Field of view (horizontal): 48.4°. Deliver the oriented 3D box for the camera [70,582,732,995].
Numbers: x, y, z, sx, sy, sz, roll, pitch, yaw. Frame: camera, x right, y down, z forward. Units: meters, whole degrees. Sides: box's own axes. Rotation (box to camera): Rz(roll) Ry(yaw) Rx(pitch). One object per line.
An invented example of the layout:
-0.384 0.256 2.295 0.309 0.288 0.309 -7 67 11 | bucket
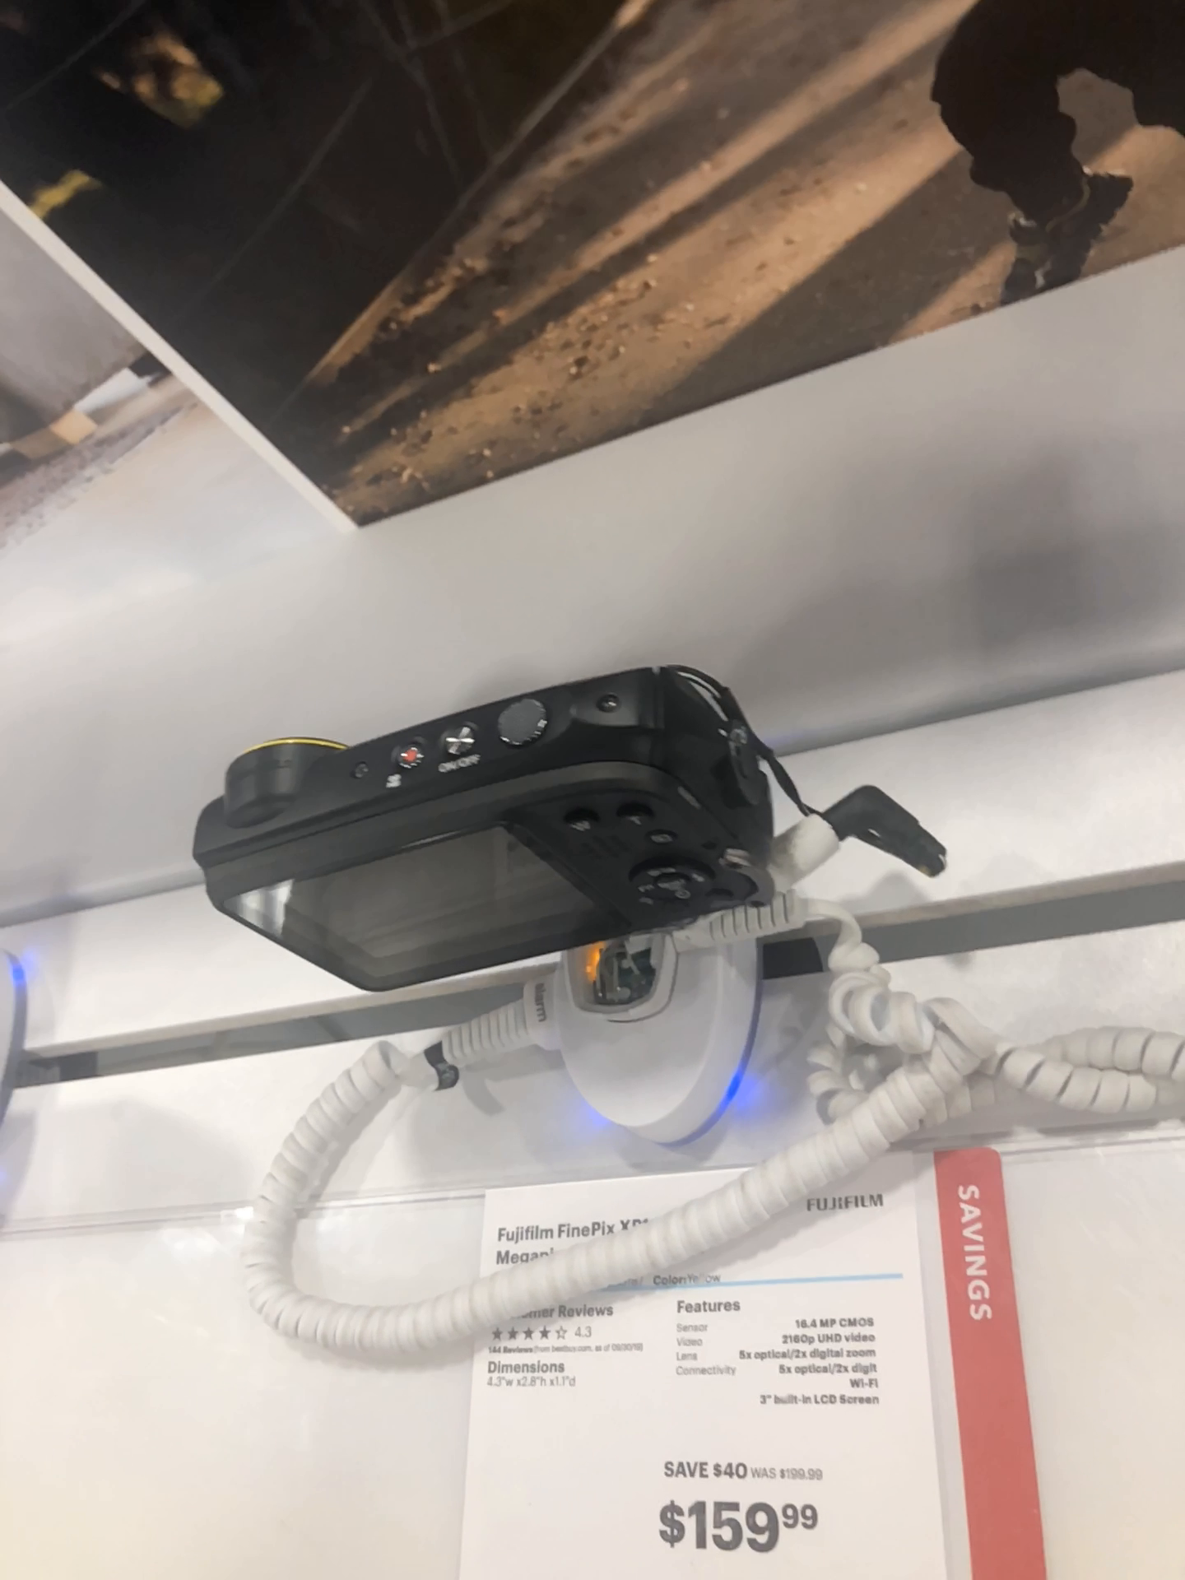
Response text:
-0.037 0.006 0.270 0.110 0.070 0.030 -16 57 23 | camera
